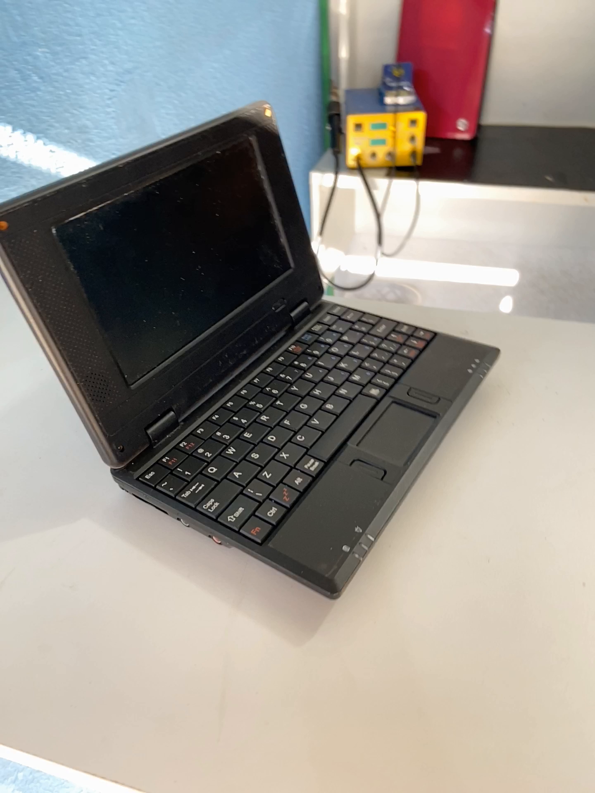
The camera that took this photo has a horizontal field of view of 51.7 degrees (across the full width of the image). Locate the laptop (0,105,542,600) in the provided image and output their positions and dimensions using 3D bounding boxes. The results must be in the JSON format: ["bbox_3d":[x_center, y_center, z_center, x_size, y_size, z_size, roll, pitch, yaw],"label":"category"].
[{"bbox_3d":[-0.002,-0.051,0.337,0.179,0.137,0.217,21,45,27],"label":"laptop"}]
